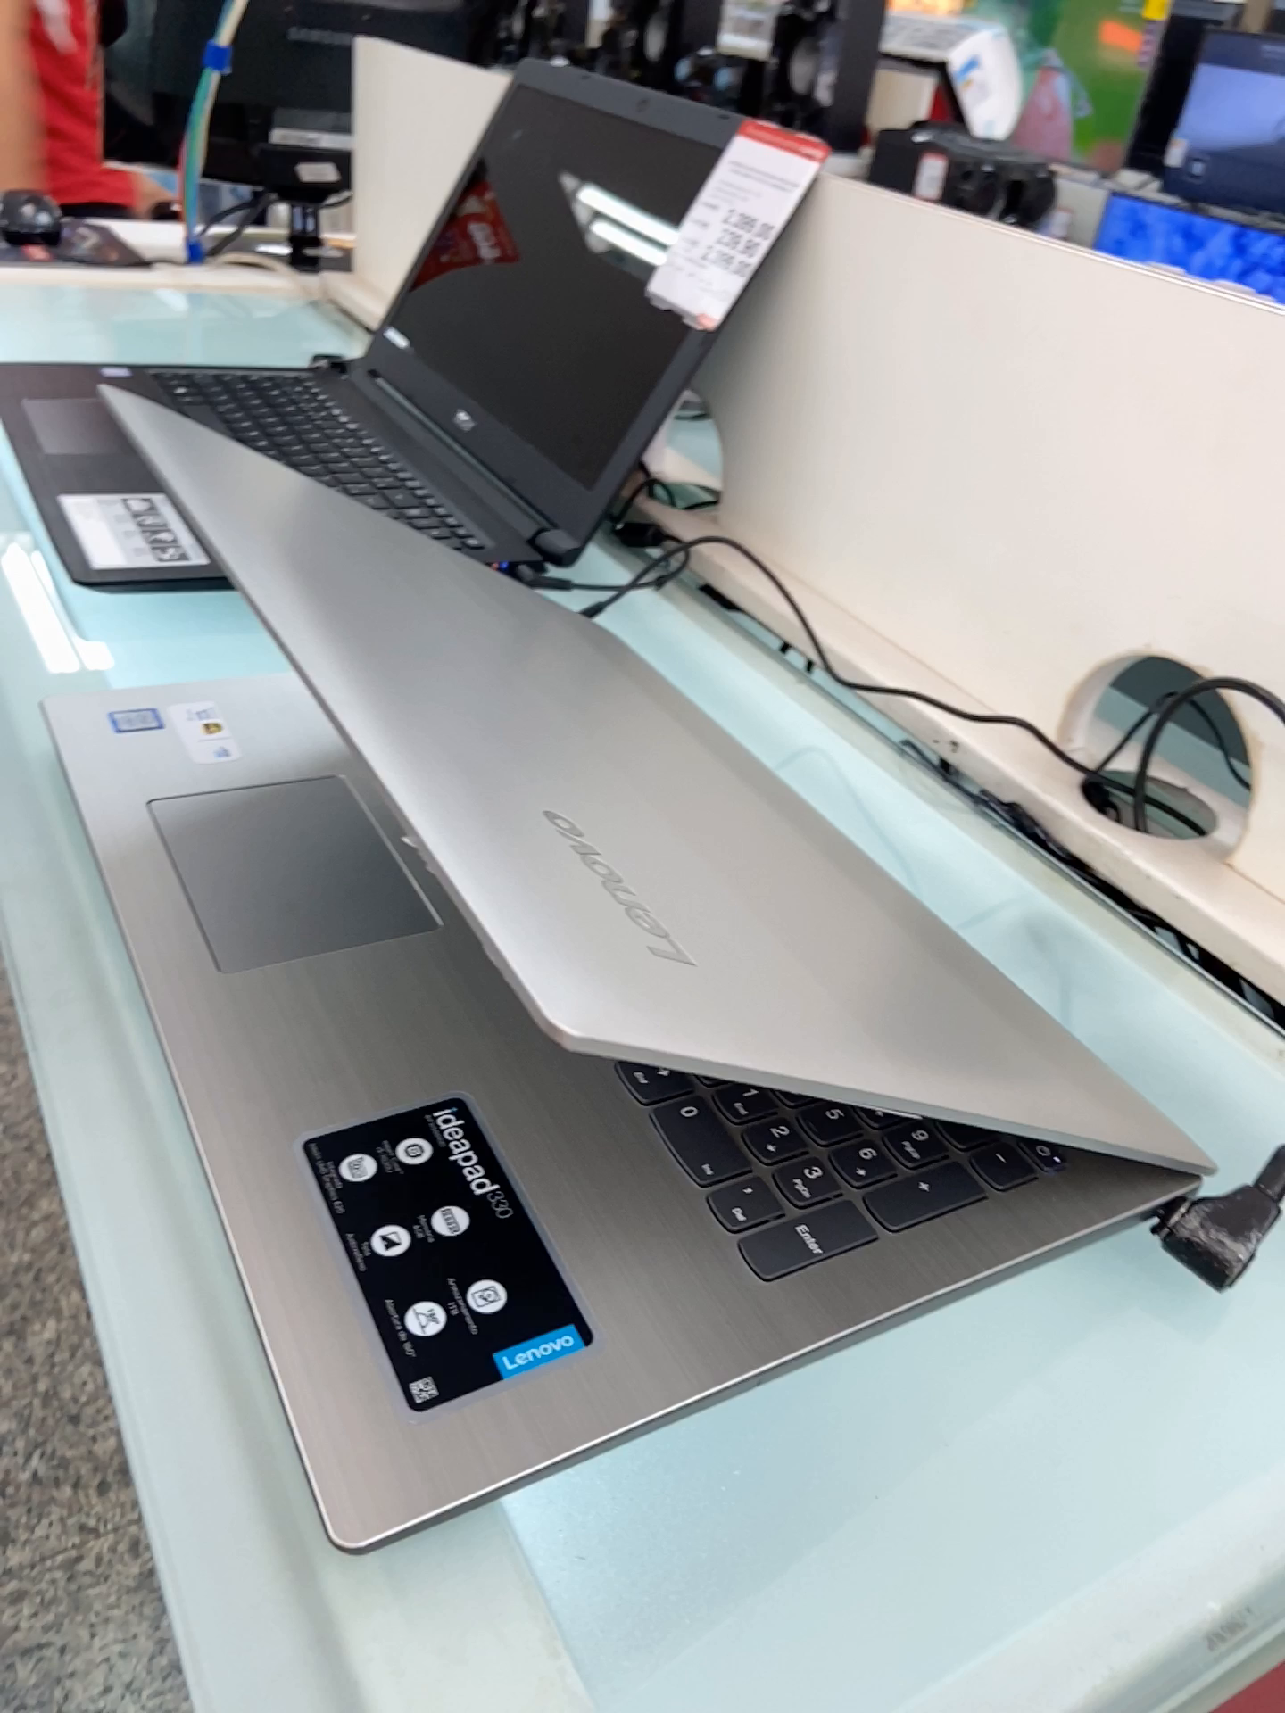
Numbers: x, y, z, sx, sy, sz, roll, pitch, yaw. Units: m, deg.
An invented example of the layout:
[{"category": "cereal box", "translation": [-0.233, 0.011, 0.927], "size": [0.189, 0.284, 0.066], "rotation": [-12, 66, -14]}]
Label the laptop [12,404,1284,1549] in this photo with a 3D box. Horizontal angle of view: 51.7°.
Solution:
[{"category": "laptop", "translation": [-0.032, -0.032, 0.414], "size": [0.246, 0.114, 0.370], "rotation": [-11, 36, -27]}]

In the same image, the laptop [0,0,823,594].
[{"category": "laptop", "translation": [-0.167, -0.355, 0.792], "size": [0.401, 0.211, 0.356], "rotation": [-13, 40, -31]}]
